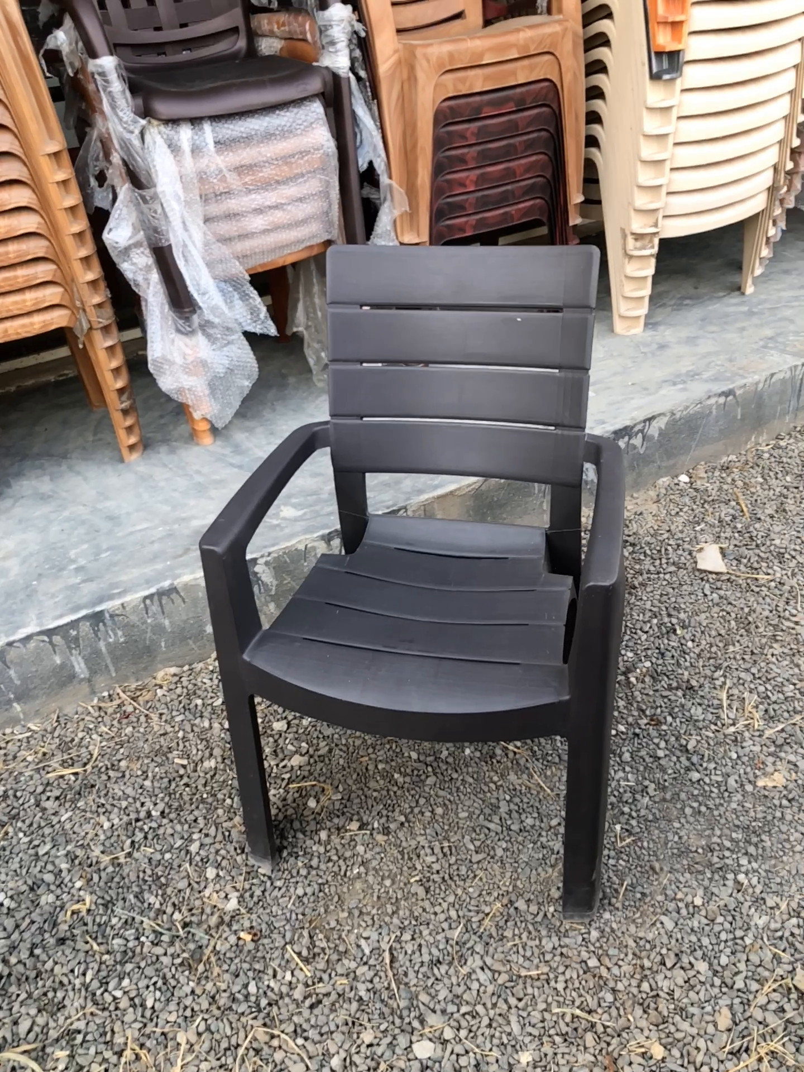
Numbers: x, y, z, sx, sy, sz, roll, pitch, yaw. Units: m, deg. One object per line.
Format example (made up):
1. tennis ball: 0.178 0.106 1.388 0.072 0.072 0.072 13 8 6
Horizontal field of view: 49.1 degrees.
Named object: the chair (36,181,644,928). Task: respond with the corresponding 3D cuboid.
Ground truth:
1. chair: 0.028 -0.010 1.303 0.570 0.796 0.684 4 36 14
